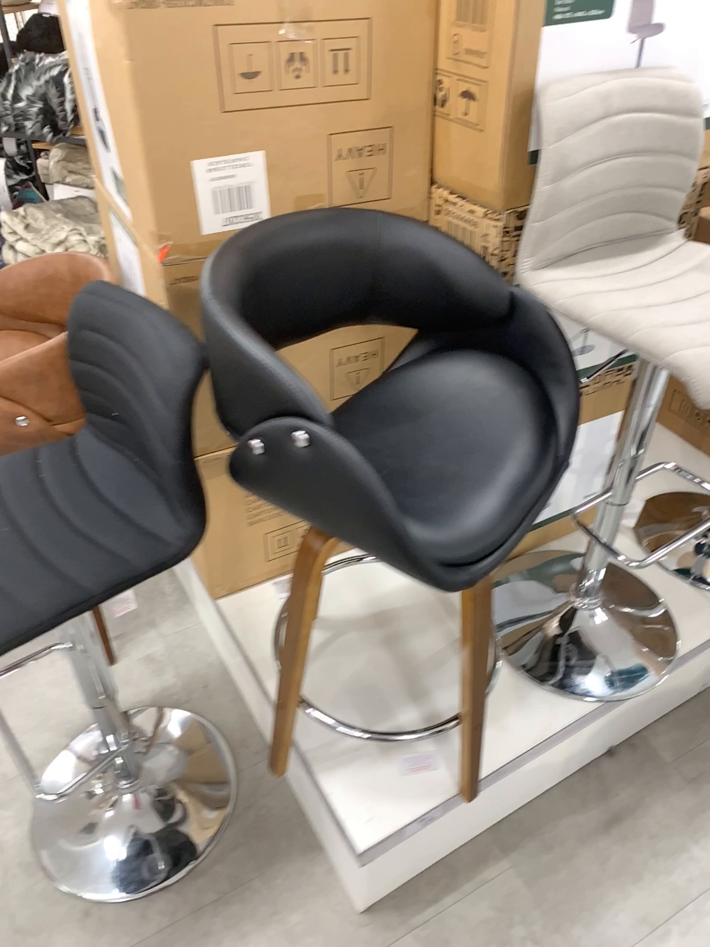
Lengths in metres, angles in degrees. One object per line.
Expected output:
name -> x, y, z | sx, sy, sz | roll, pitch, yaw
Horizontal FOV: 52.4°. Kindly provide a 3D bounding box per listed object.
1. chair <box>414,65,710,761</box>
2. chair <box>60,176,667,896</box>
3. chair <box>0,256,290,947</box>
chair -> 0.440, -0.081, 1.186 | 0.435, 0.967, 0.439 | -19, 41, -26
chair -> 0.051, 0.098, 1.187 | 0.548, 0.897, 0.568 | 20, 45, 24
chair -> -0.479, 0.247, 1.223 | 0.468, 1.017, 0.487 | -24, 40, -29
